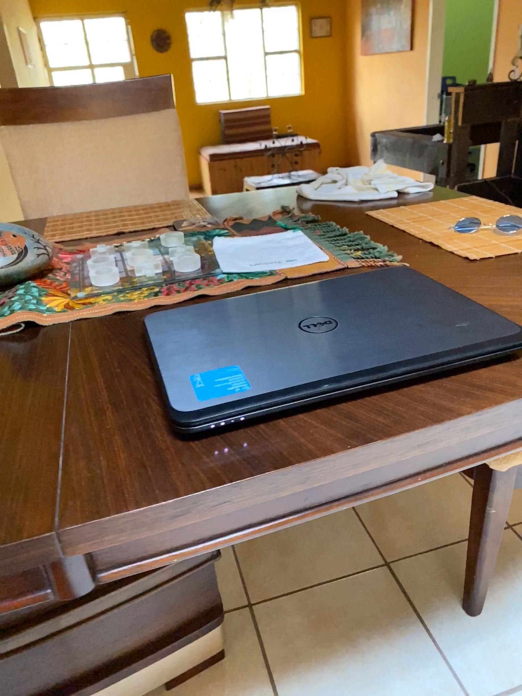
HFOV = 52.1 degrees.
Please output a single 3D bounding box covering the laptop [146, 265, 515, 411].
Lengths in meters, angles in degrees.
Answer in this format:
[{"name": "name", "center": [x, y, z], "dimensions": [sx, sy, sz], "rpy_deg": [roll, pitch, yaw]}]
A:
[{"name": "laptop", "center": [0.058, -0.032, 0.614], "dimensions": [0.352, 0.001, 0.249], "rpy_deg": [-12, 27, -15]}]
